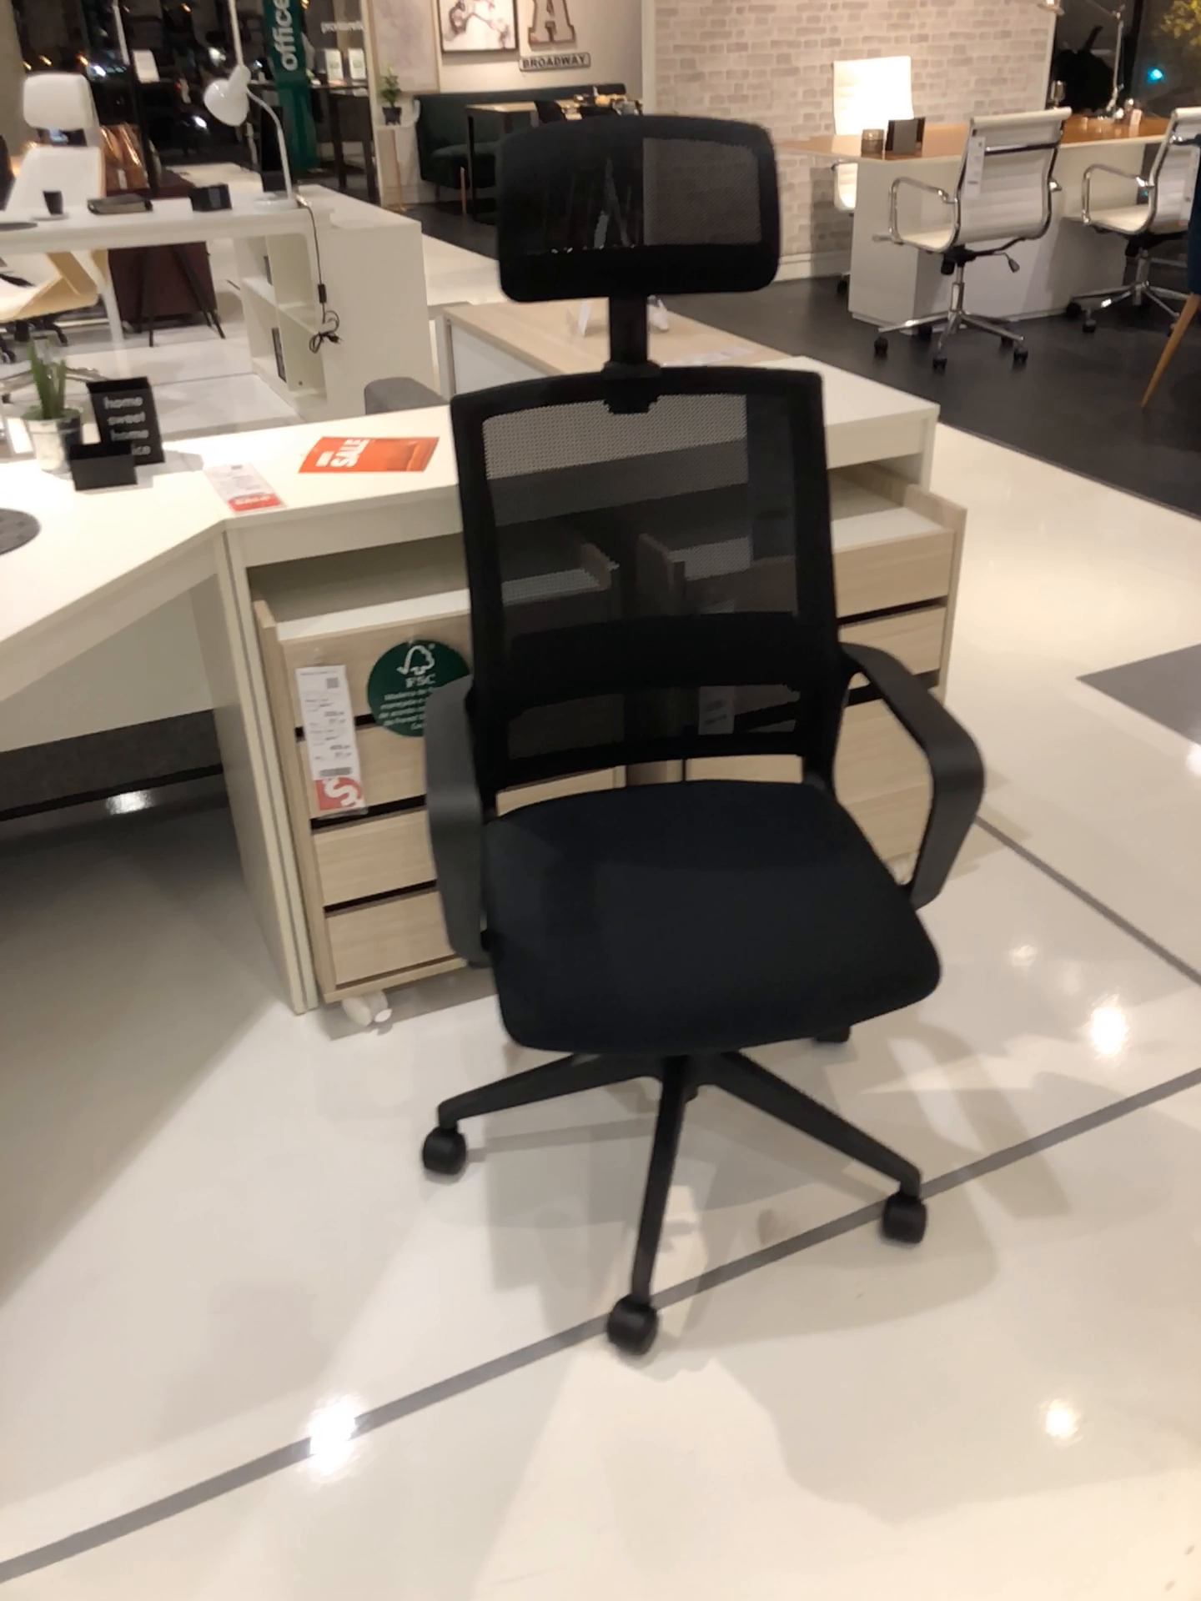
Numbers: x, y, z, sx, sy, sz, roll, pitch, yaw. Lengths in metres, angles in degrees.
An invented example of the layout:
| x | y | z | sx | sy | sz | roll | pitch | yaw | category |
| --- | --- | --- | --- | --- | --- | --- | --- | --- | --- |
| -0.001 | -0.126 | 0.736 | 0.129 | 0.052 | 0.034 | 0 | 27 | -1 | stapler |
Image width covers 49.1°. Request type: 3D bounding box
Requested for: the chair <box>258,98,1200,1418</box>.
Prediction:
| x | y | z | sx | sy | sz | roll | pitch | yaw | category |
| --- | --- | --- | --- | --- | --- | --- | --- | --- | --- |
| 0.082 | -0.069 | 1.377 | 0.660 | 1.131 | 0.665 | -7 | 30 | -8 | chair |
